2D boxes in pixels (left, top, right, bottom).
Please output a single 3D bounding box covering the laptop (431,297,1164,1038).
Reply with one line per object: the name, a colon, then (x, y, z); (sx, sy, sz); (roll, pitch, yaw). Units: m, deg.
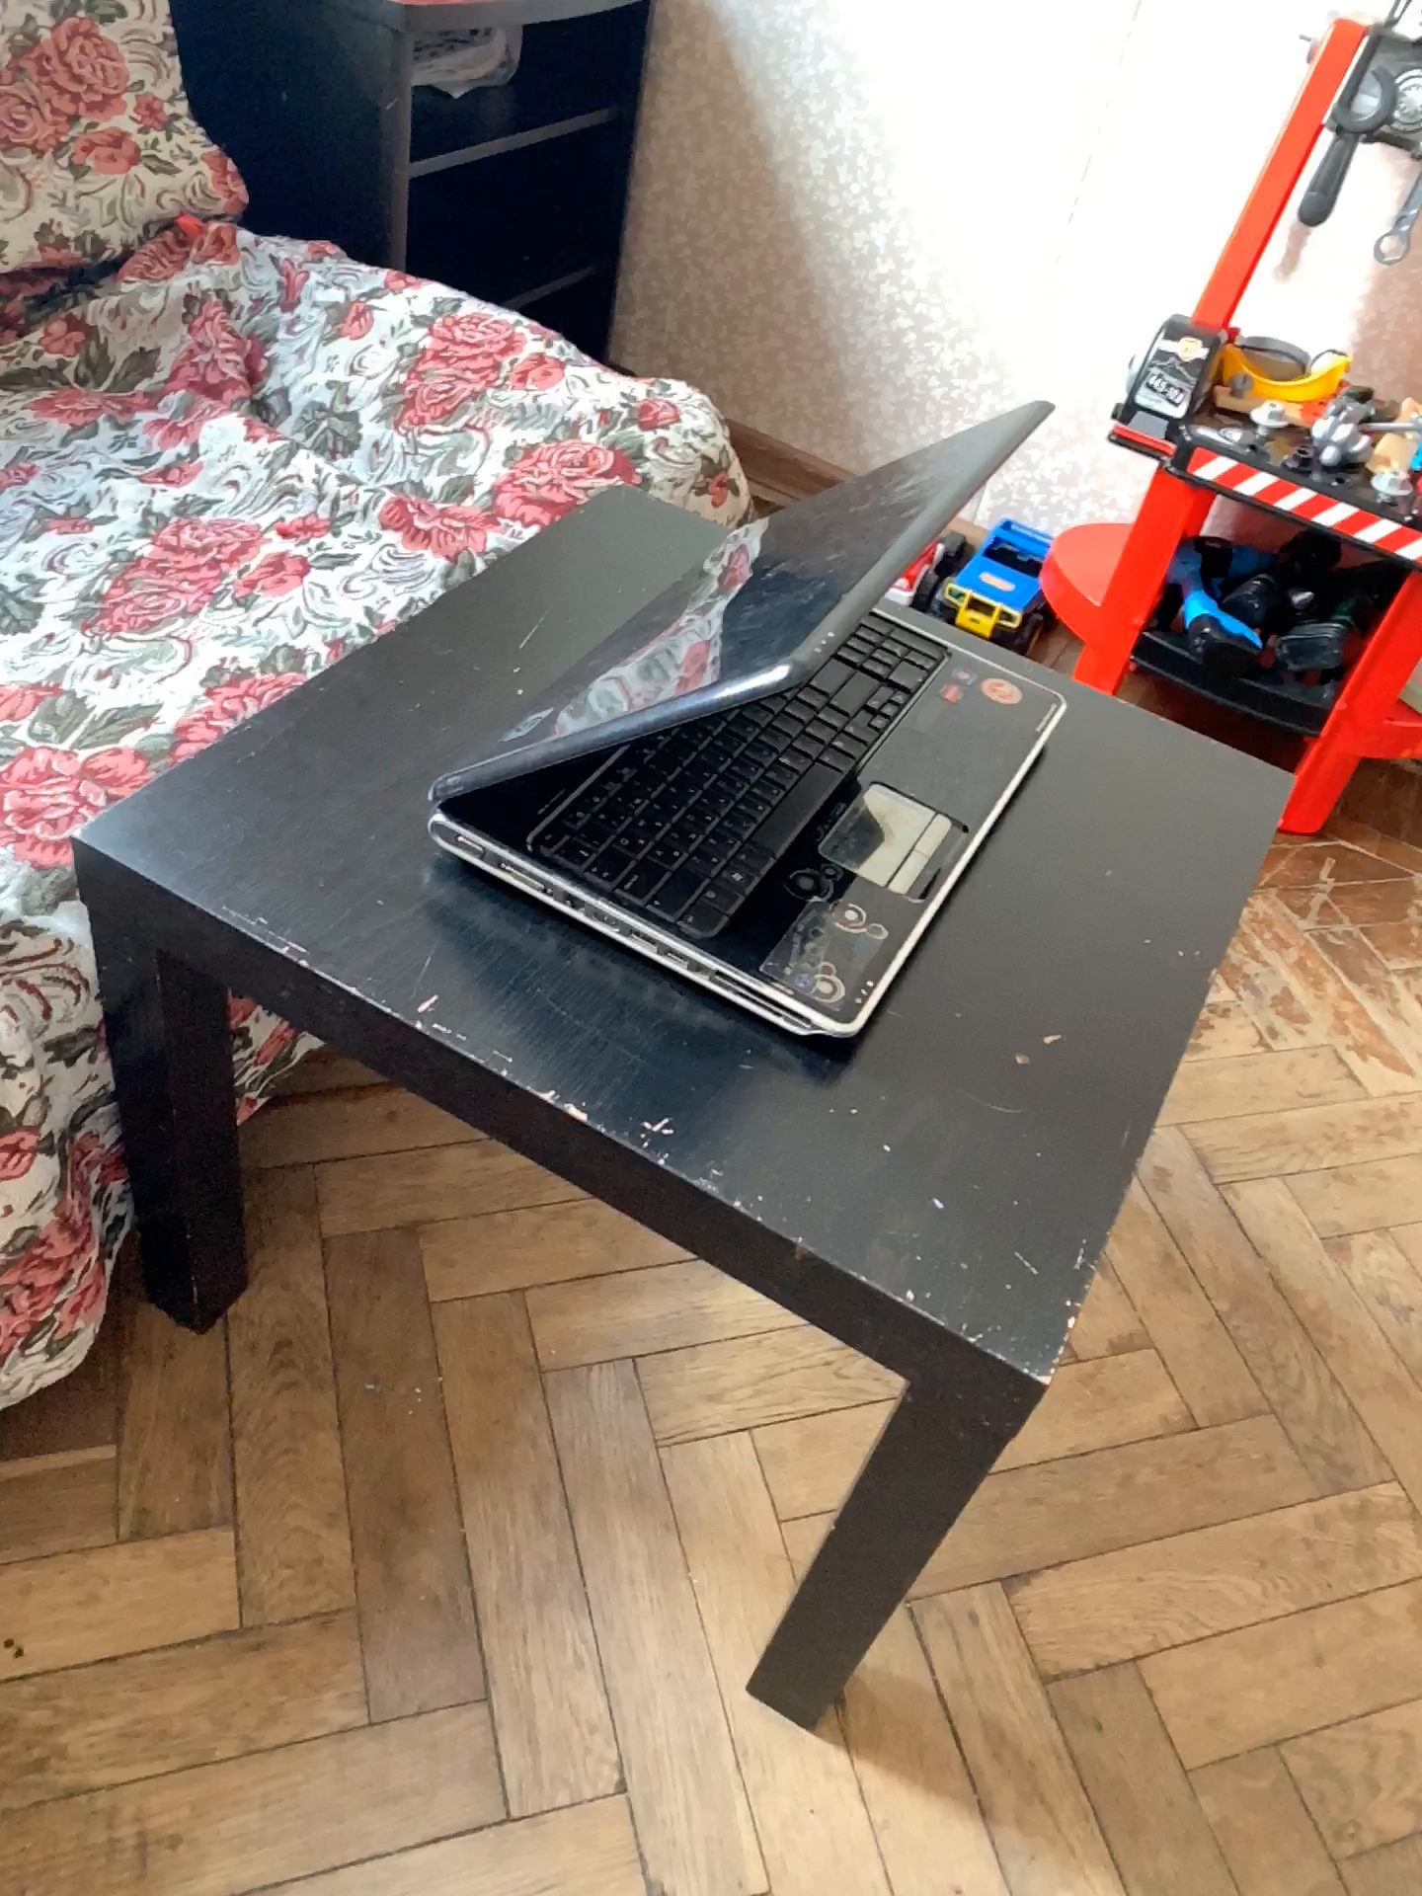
laptop: (0.059, -0.180, 0.804); (0.251, 0.176, 0.367); (27, 45, 12)
